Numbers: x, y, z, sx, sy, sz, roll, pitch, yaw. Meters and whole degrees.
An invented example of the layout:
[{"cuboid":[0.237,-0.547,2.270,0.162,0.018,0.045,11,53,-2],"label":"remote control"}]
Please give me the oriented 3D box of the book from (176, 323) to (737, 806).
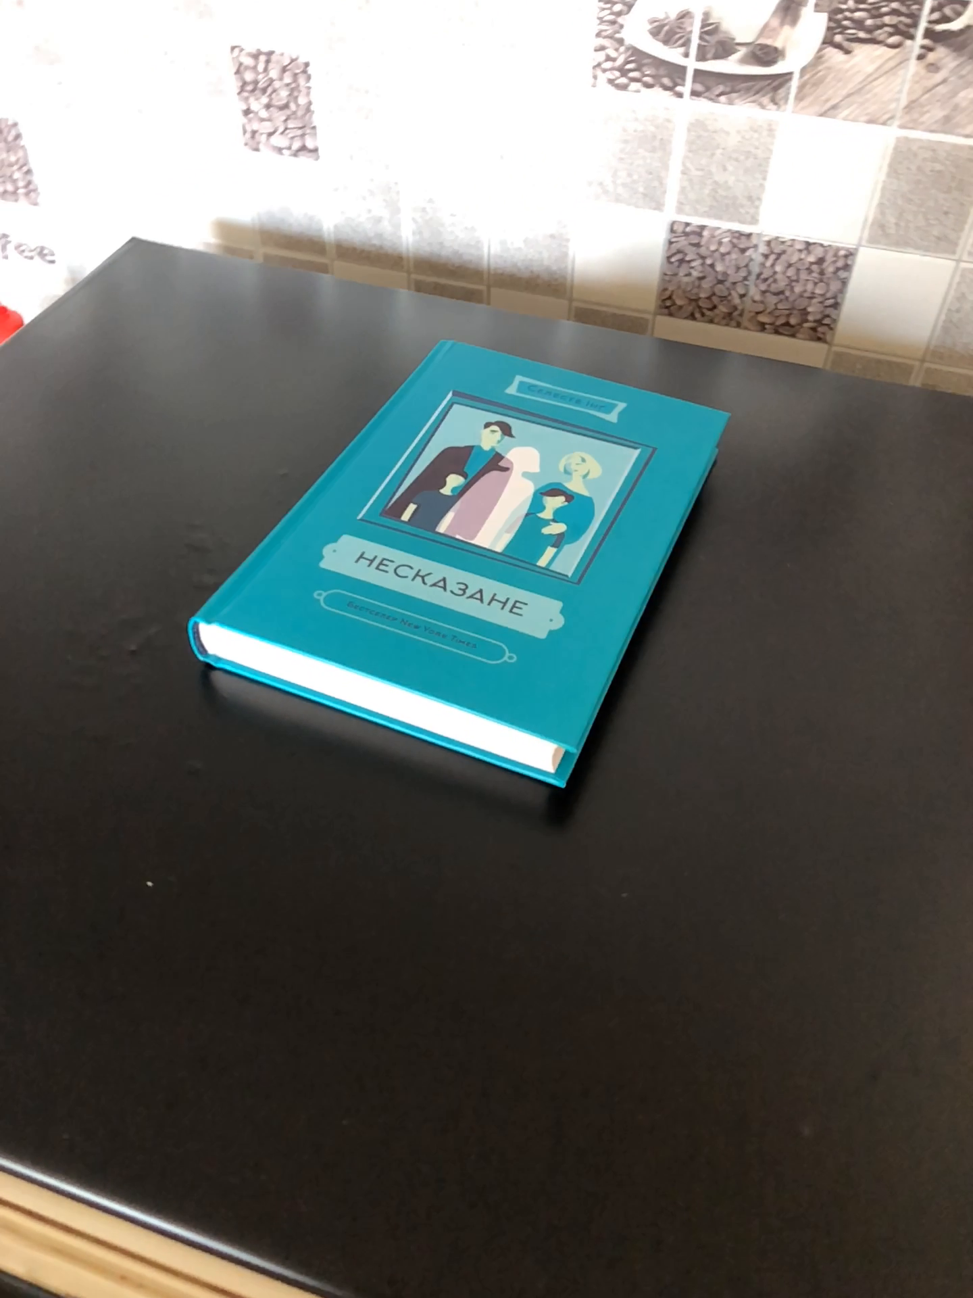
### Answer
[{"cuboid":[0.000,-0.051,0.435,0.150,0.030,0.211,18,49,14],"label":"book"}]
